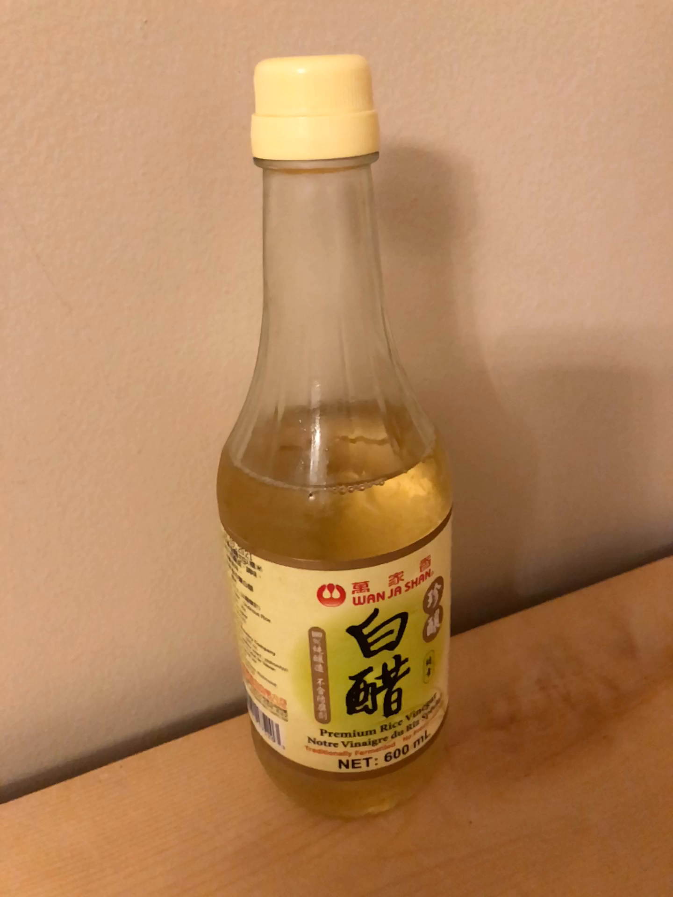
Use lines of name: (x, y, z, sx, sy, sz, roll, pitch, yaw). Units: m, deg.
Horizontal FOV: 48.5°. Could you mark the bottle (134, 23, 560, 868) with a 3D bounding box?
bottle: (0.004, 0.007, 0.237, 0.080, 0.238, 0.080, -3, 27, 2)
